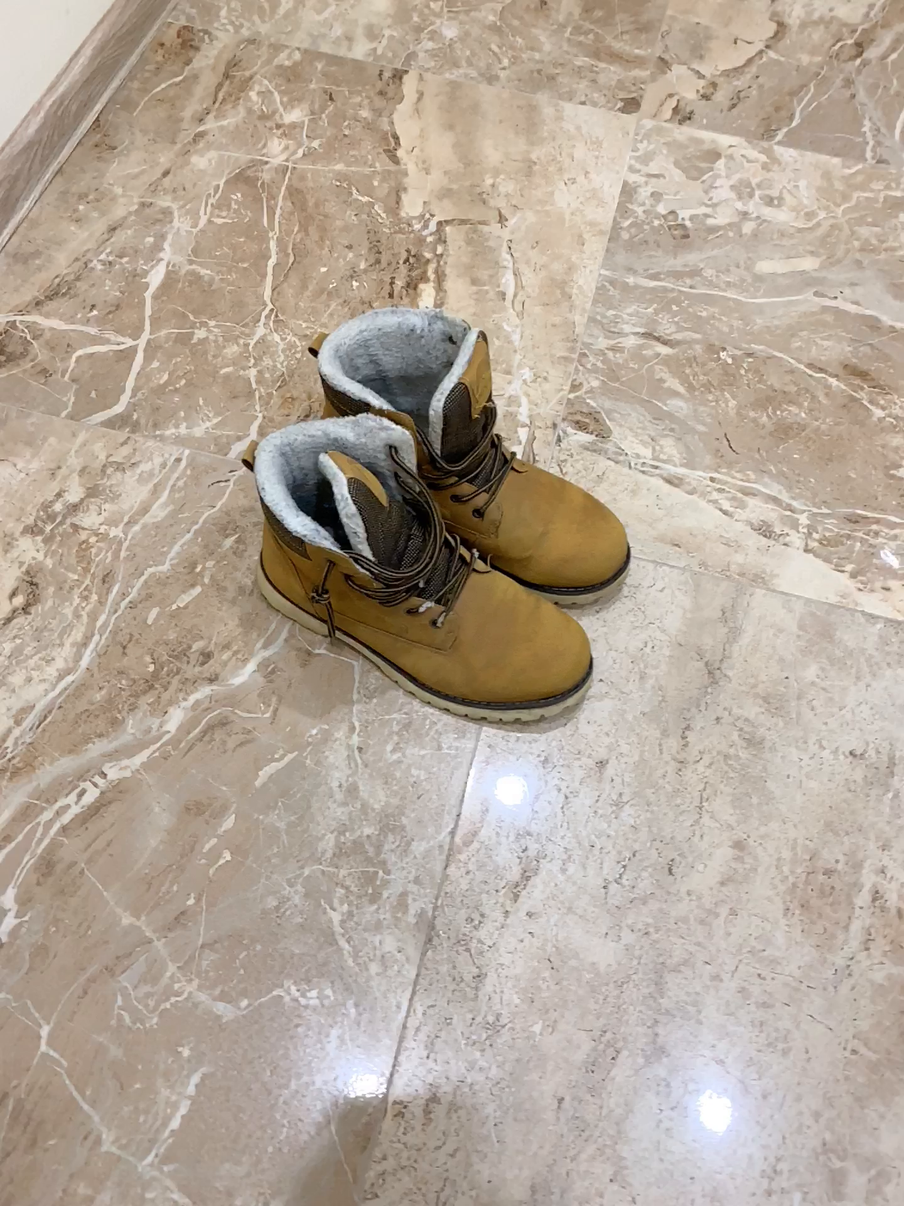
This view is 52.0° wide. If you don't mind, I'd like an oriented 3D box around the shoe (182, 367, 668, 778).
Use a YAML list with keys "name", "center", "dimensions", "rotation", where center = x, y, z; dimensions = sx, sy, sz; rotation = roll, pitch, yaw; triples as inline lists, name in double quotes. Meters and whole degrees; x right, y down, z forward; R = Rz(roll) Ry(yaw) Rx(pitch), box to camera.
- name: "shoe"
  center: [-0.020, -0.017, 0.649]
  dimensions: [0.280, 0.160, 0.120]
  rotation: [25, 63, 10]

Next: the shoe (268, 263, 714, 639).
- name: "shoe"
  center: [0.023, -0.112, 0.691]
  dimensions: [0.280, 0.140, 0.120]
  rotation: [25, 63, 10]
